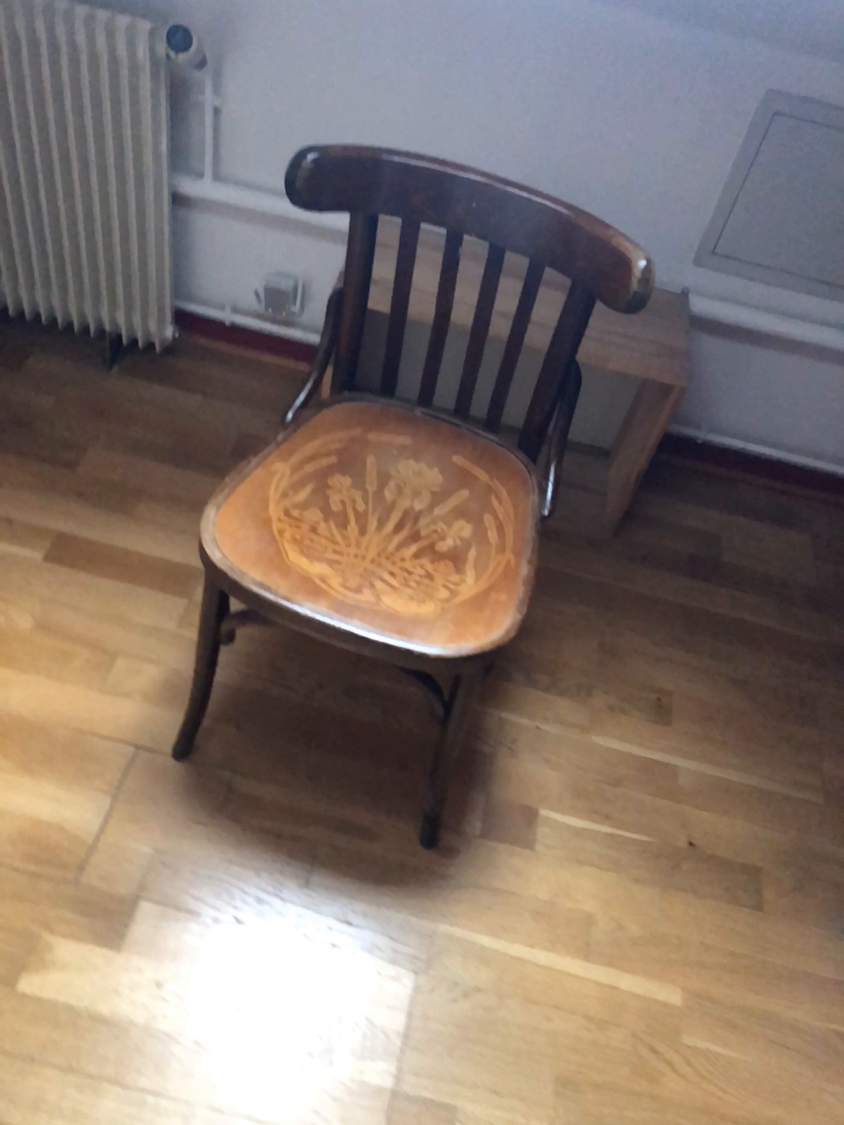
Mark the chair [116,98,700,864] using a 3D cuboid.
[{"bbox_3d":[-0.038,-0.047,1.118,0.442,0.737,0.414,19,48,3],"label":"chair"}]
